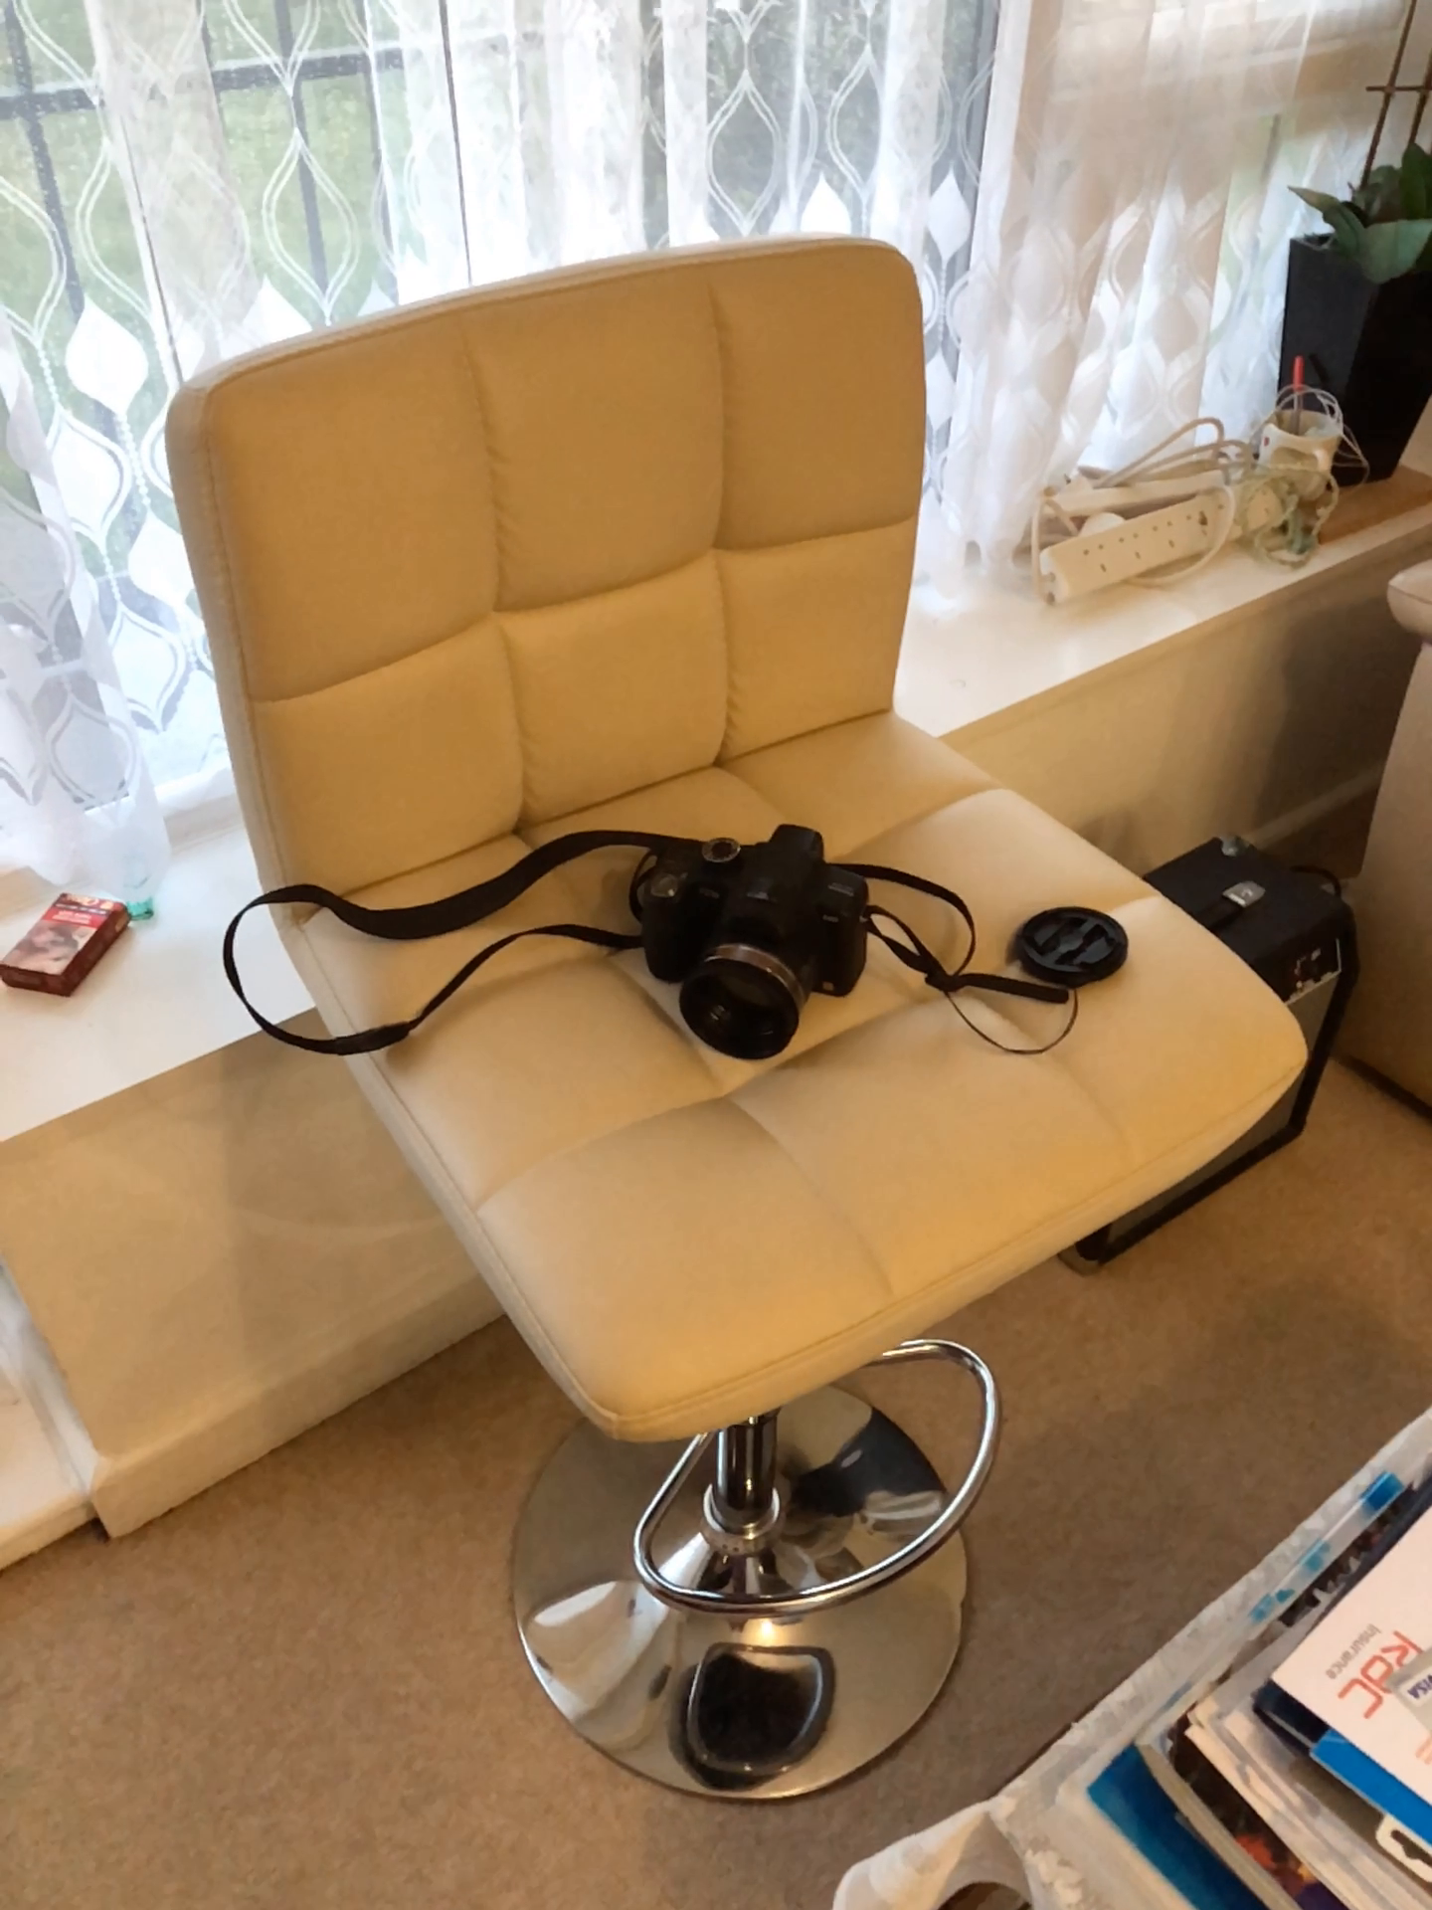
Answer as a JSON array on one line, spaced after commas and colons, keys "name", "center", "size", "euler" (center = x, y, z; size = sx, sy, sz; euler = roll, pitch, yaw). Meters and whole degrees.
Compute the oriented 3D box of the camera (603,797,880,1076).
[{"name": "camera", "center": [0.014, -0.011, 0.772], "size": [0.111, 0.076, 0.098], "euler": [10, 42, 12]}]
